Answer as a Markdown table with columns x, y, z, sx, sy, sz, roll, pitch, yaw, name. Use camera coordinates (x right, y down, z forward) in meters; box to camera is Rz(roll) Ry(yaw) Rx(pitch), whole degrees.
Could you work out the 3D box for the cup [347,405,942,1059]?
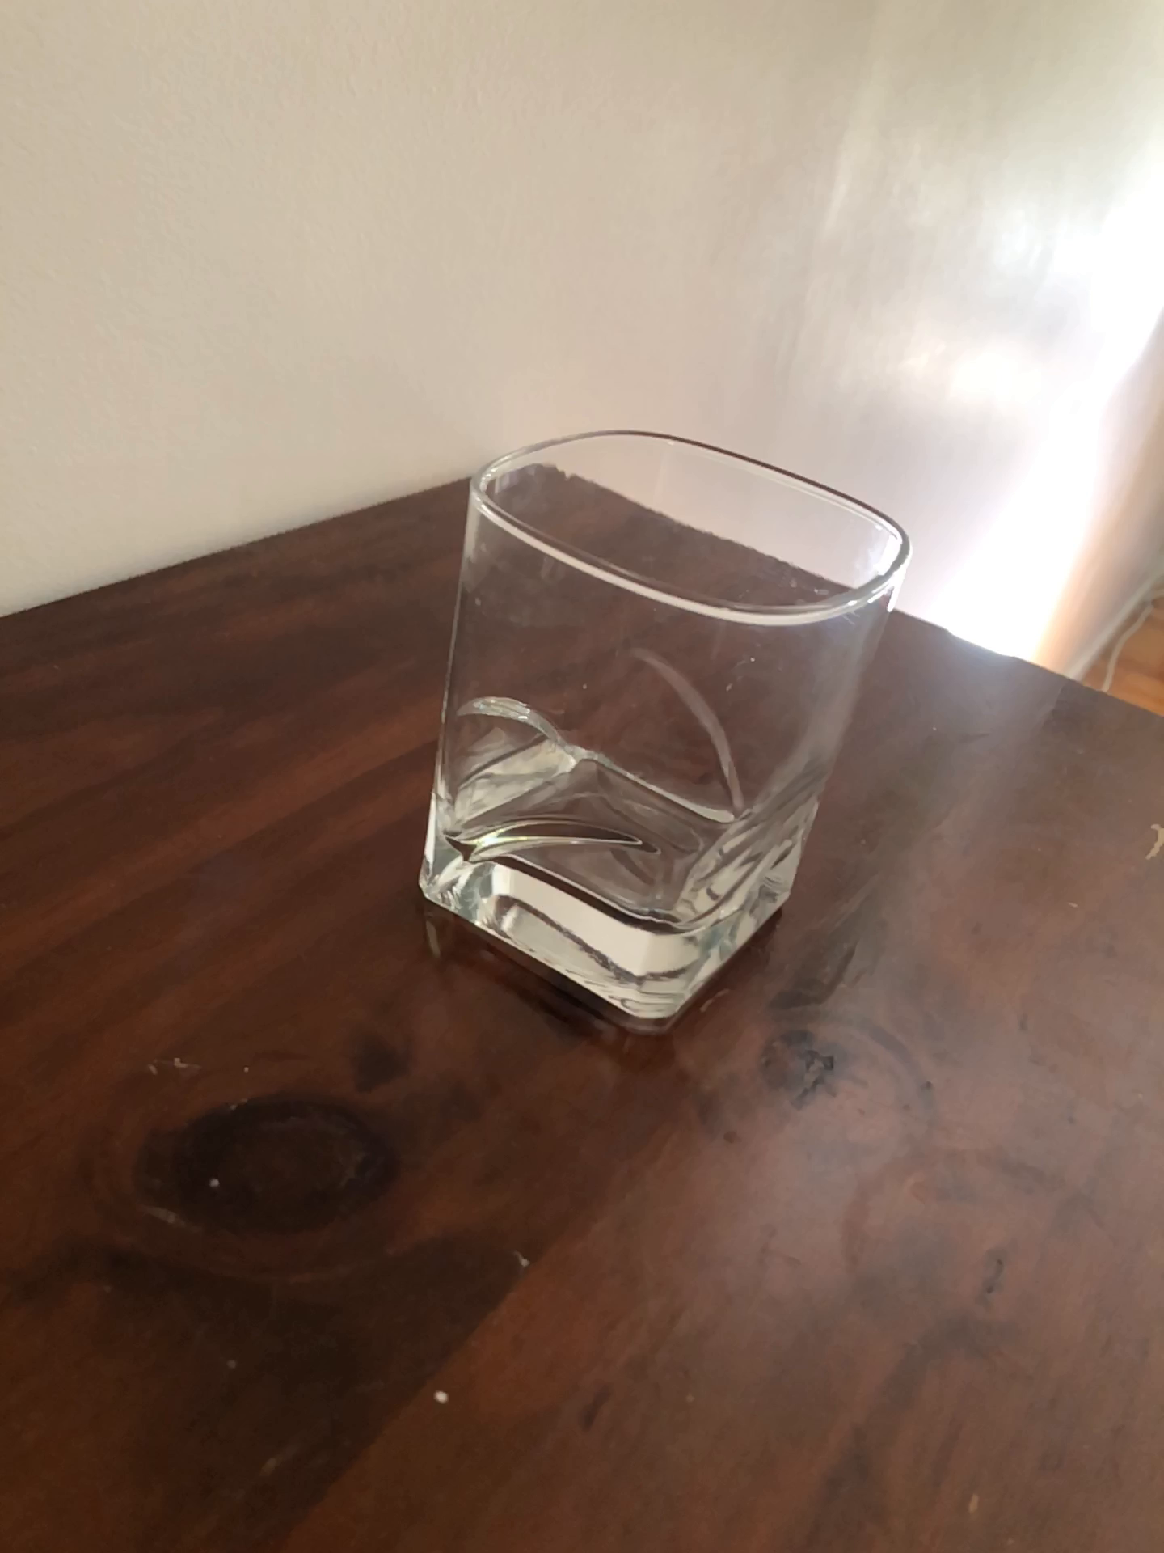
| x | y | z | sx | sy | sz | roll | pitch | yaw | name |
| --- | --- | --- | --- | --- | --- | --- | --- | --- | --- |
| 0.011 | -0.015 | 0.256 | 0.076 | 0.087 | 0.078 | 7 | 30 | -4 | cup |
